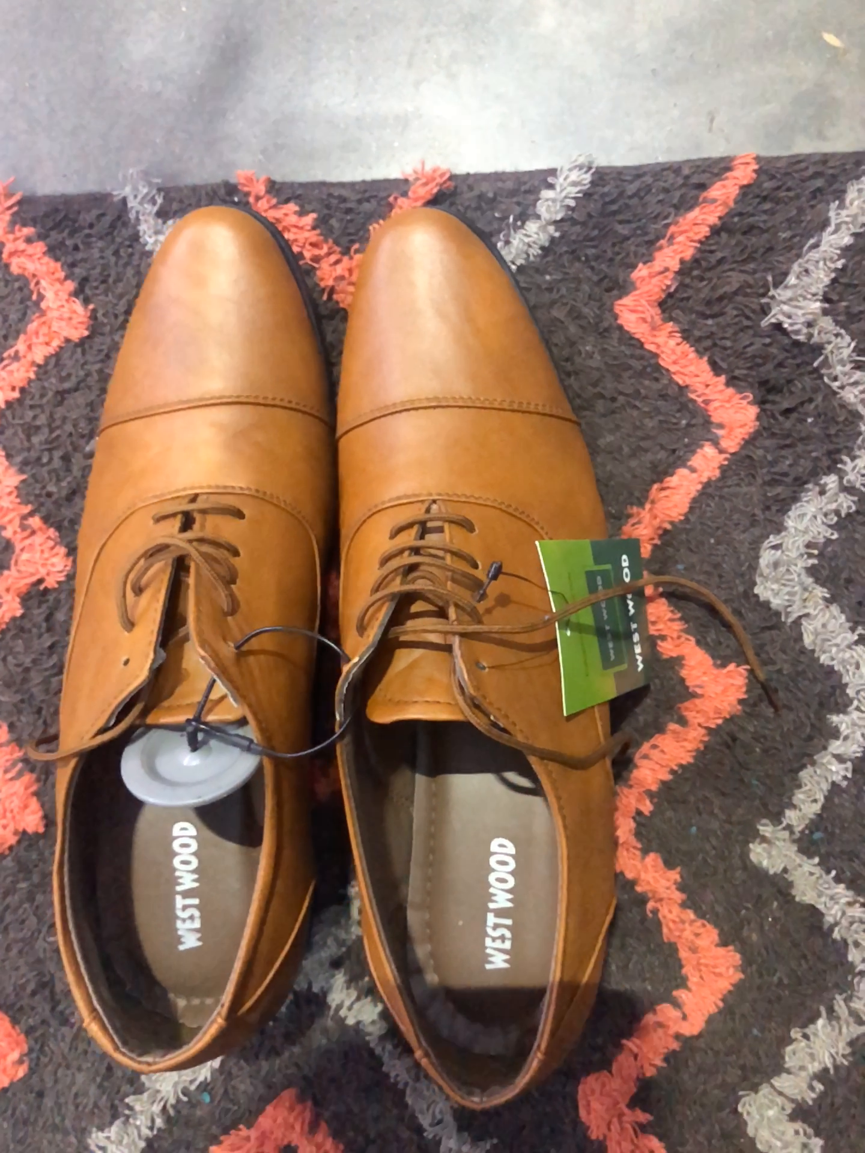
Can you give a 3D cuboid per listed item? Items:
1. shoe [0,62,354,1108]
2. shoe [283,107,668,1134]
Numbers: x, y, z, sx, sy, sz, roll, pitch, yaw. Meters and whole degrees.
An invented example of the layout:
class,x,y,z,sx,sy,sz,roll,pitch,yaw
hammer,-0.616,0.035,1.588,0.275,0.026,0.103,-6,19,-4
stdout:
class,x,y,z,sx,sy,sz,roll,pitch,yaw
shoe,-0.088,0.000,0.324,0.110,0.070,0.310,-1,86,5
shoe,0.013,0.011,0.326,0.110,0.080,0.300,-1,86,5
